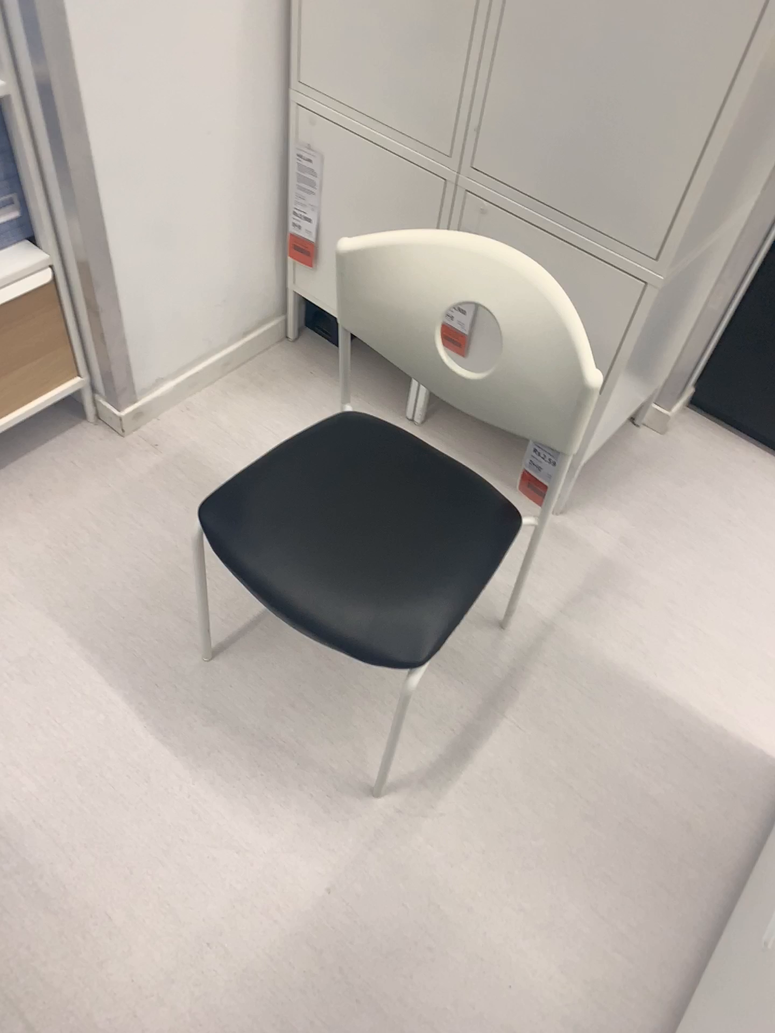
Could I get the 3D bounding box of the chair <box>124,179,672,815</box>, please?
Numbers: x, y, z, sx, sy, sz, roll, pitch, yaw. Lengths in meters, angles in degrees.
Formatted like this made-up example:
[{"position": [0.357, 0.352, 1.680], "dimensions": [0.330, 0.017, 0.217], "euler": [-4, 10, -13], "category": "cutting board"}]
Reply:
[{"position": [-0.004, 0.000, 1.275], "dimensions": [0.480, 0.768, 0.511], "euler": [32, 54, 17], "category": "chair"}]
